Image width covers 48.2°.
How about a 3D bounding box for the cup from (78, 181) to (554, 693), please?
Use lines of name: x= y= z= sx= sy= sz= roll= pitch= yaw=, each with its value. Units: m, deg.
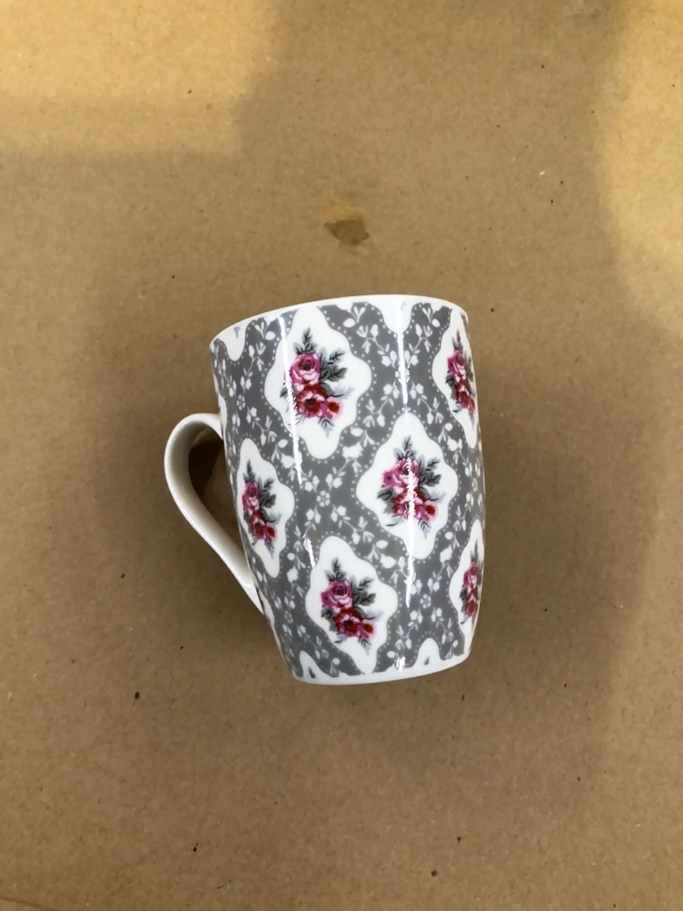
cup: x=-0.006 y=0.003 z=0.222 sx=0.100 sy=0.080 sz=0.110 roll=-11 pitch=81 yaw=29
